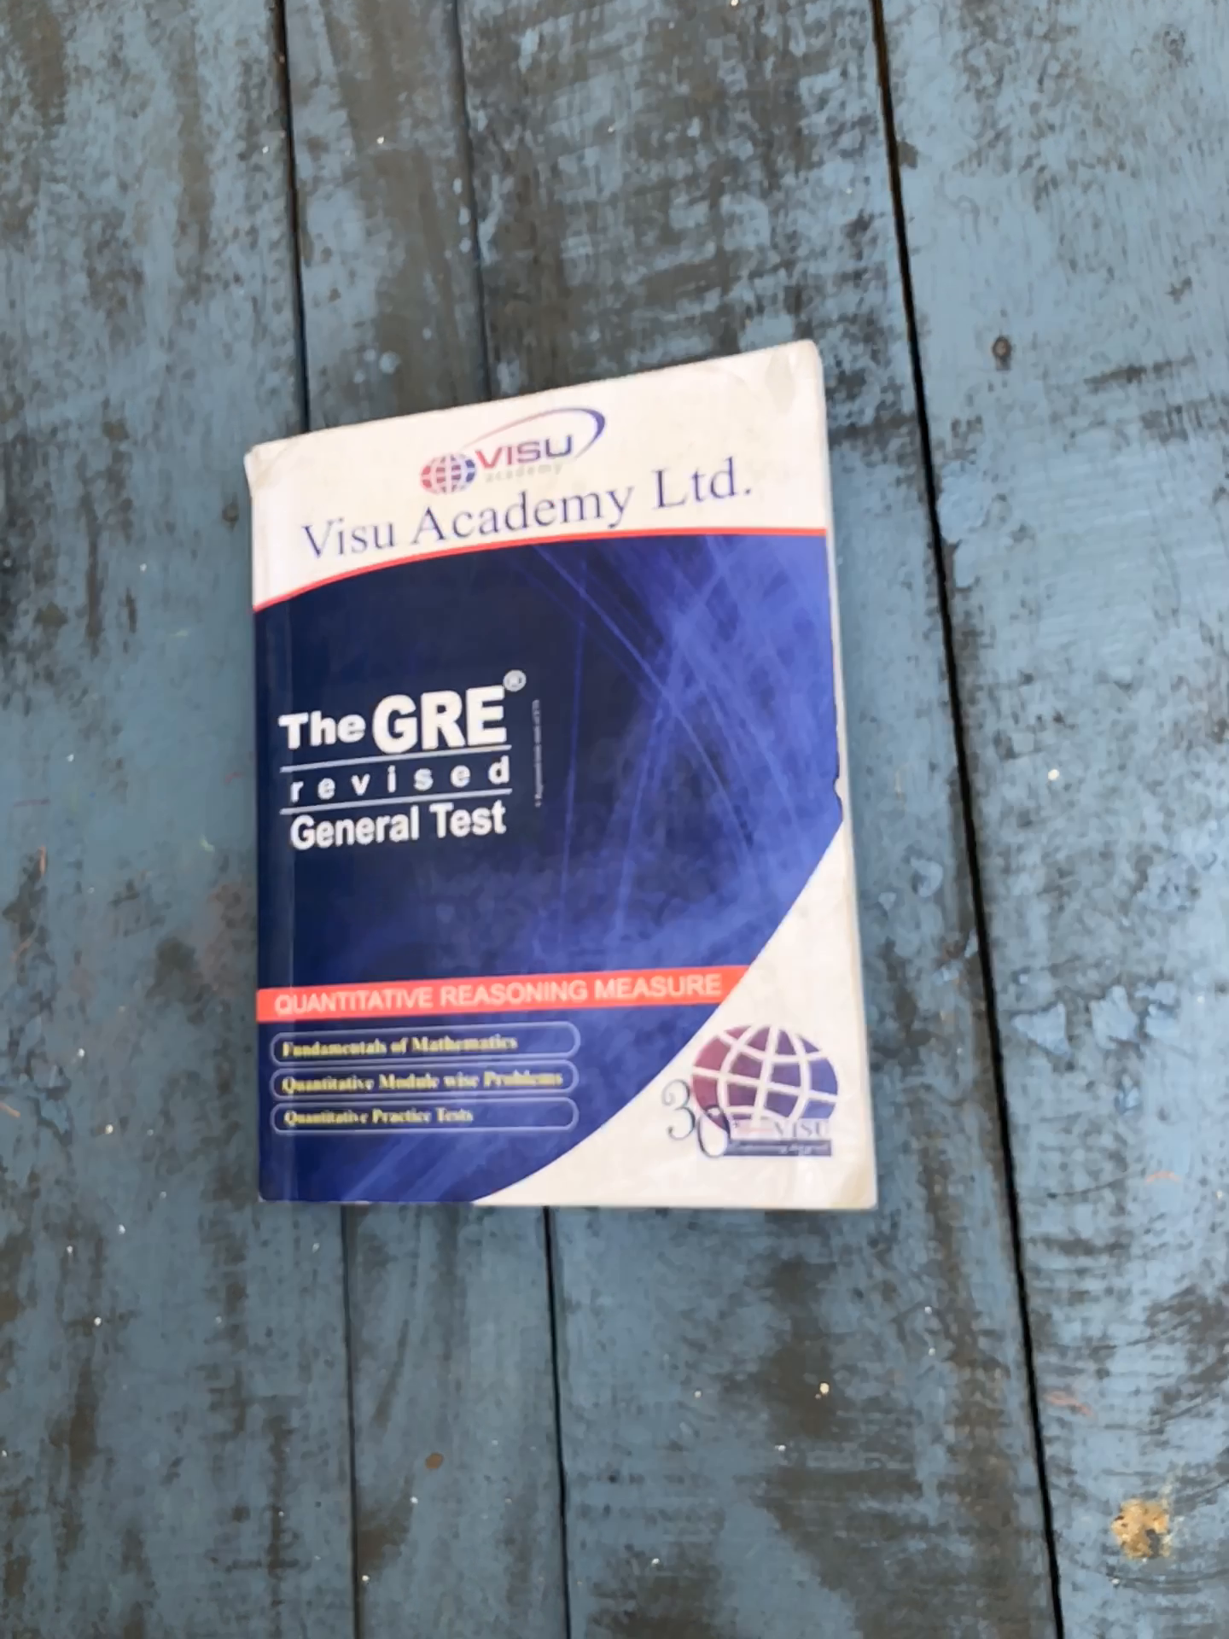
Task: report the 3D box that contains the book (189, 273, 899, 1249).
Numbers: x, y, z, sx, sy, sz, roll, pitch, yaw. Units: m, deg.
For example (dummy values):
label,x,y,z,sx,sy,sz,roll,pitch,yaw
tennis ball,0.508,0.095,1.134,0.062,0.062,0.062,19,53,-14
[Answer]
label,x,y,z,sx,sy,sz,roll,pitch,yaw
book,-0.028,-0.013,0.463,0.220,0.060,0.290,-5,80,19
